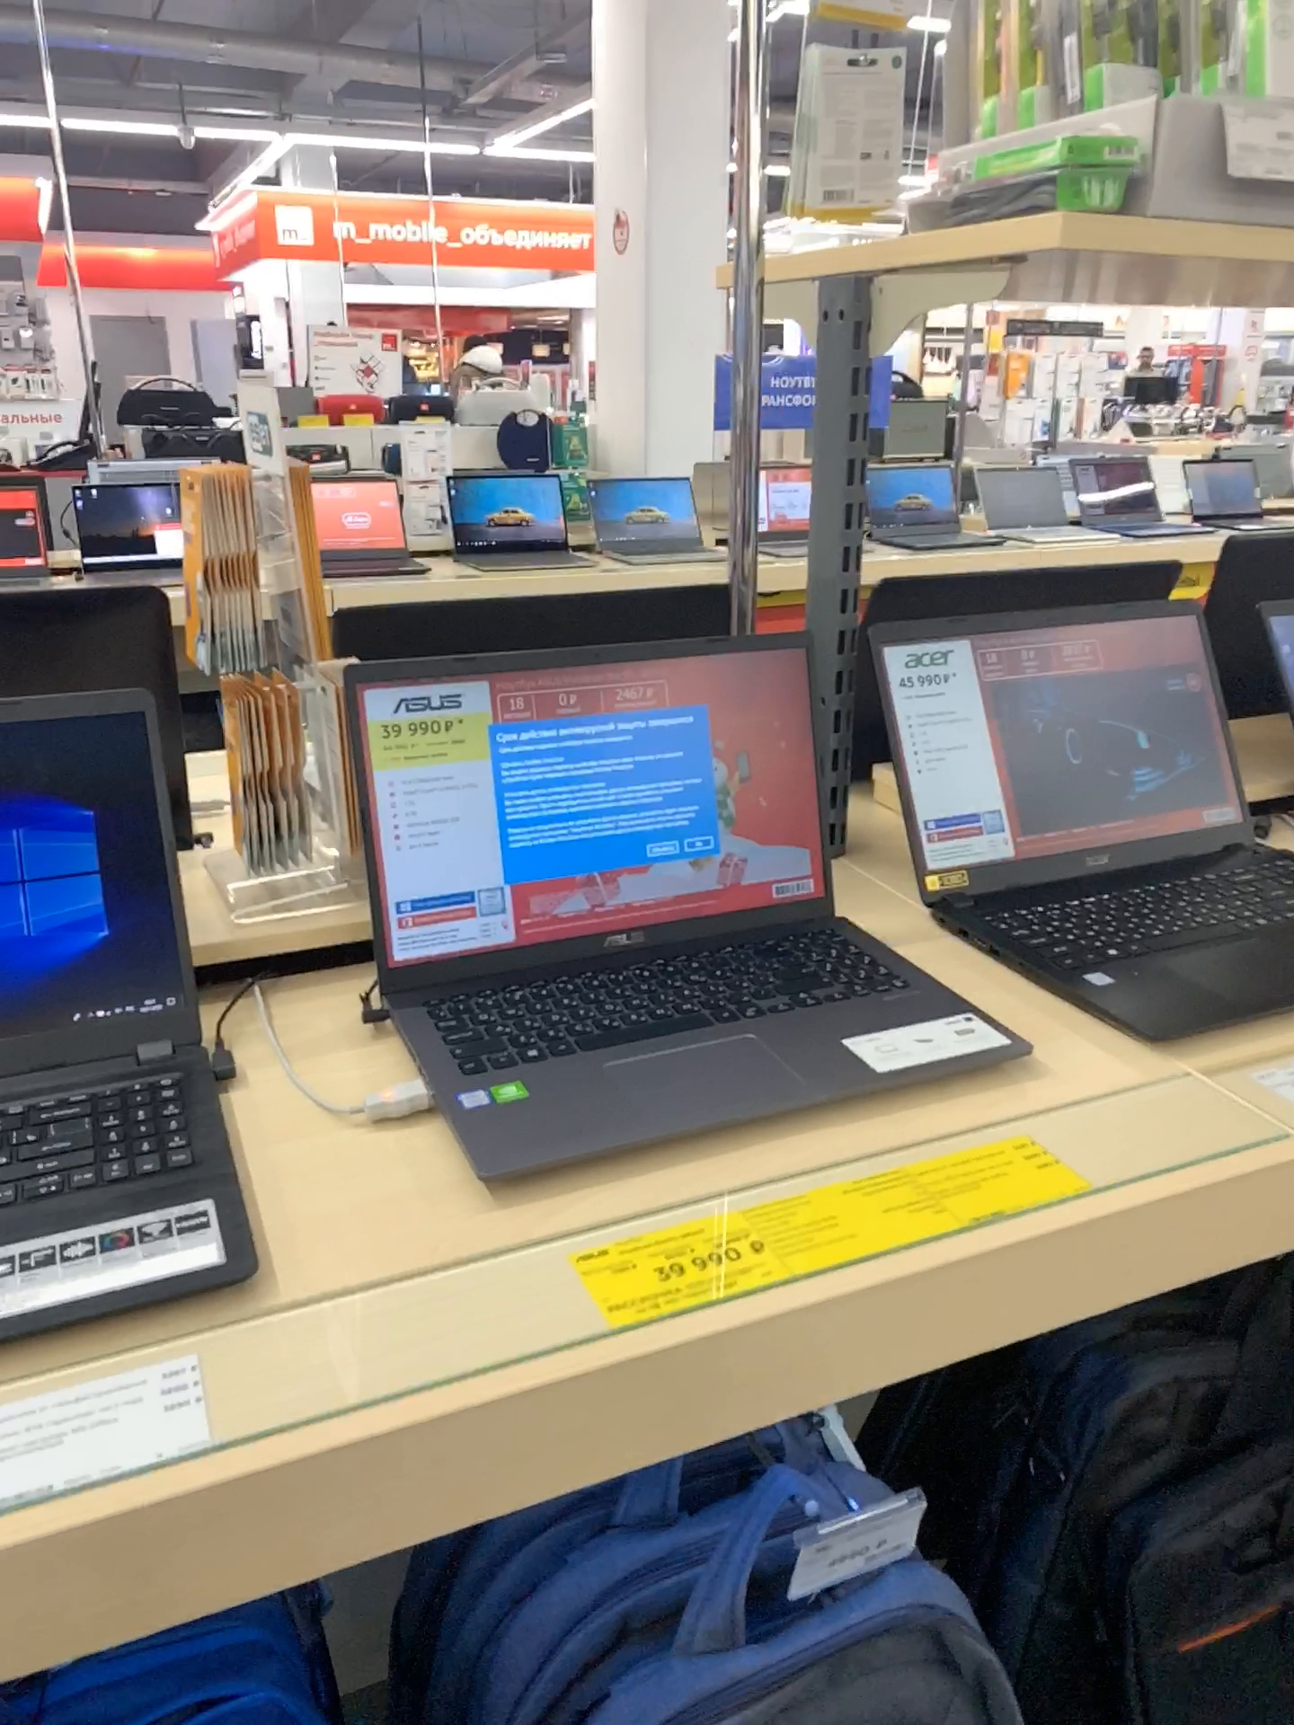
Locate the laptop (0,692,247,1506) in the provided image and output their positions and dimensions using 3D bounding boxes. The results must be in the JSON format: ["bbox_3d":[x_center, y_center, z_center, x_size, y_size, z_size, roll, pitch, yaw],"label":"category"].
[{"bbox_3d":[-0.420,0.063,0.684,0.350,0.214,0.362,-7,20,-23],"label":"laptop"}]

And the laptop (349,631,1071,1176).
[{"bbox_3d":[0.024,-0.007,0.869,0.366,0.217,0.298,-8,21,-22],"label":"laptop"}]
